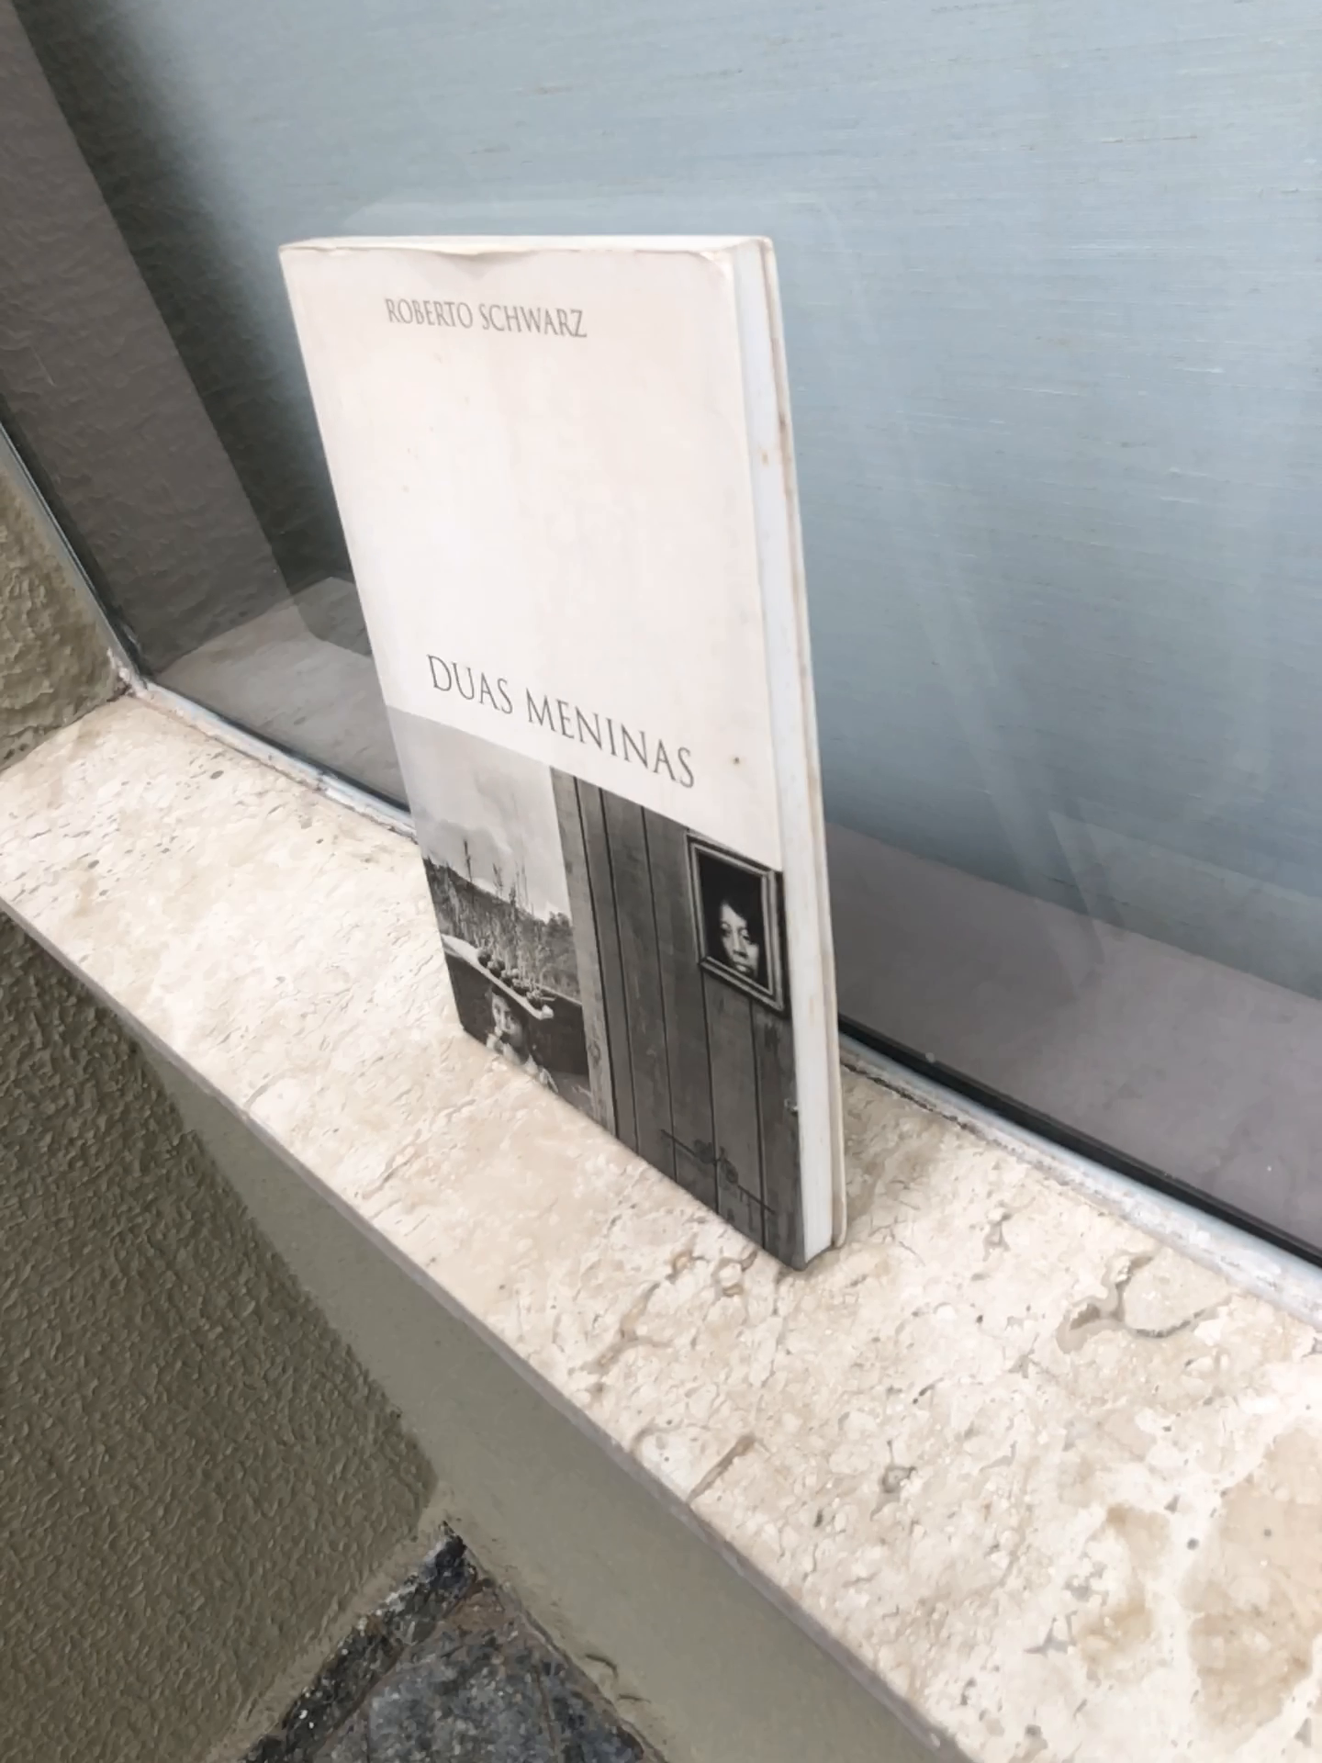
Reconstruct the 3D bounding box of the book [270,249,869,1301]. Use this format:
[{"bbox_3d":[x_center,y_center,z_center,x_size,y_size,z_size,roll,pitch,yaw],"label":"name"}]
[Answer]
[{"bbox_3d":[-0.019,-0.024,0.312,0.016,0.204,0.140,-28,35,-30],"label":"book"}]
